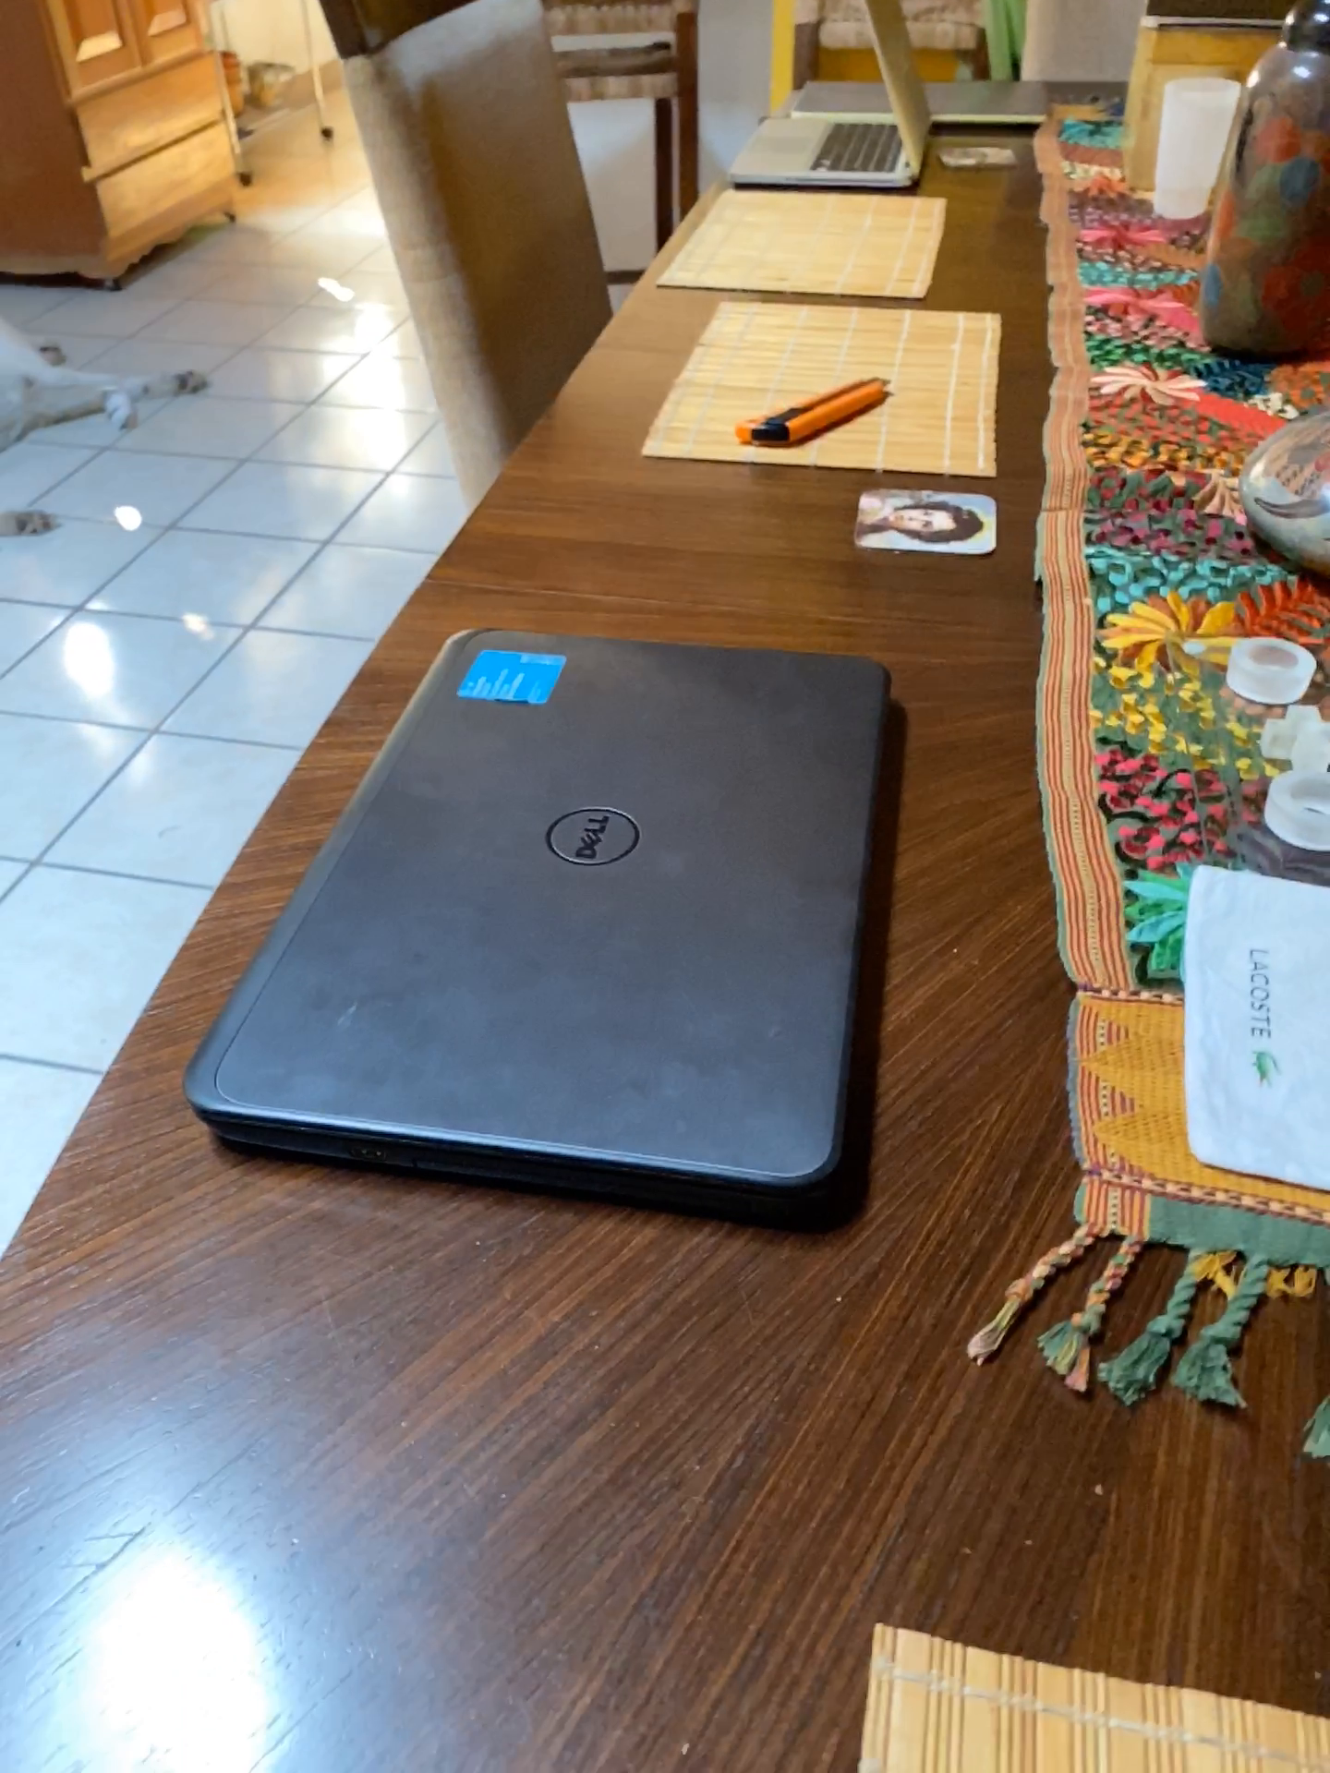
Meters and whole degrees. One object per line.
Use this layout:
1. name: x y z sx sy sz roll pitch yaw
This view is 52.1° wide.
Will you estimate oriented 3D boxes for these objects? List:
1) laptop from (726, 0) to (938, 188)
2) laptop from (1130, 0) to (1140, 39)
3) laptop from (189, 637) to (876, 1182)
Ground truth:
1. laptop: 0.209 -1.011 1.682 0.216 0.194 0.320 7 40 11
2. laptop: 0.535 -0.990 1.547 0.002 0.003 0.281 -17 32 28
3. laptop: -0.034 -0.019 0.647 0.248 0.001 0.354 6 41 8
